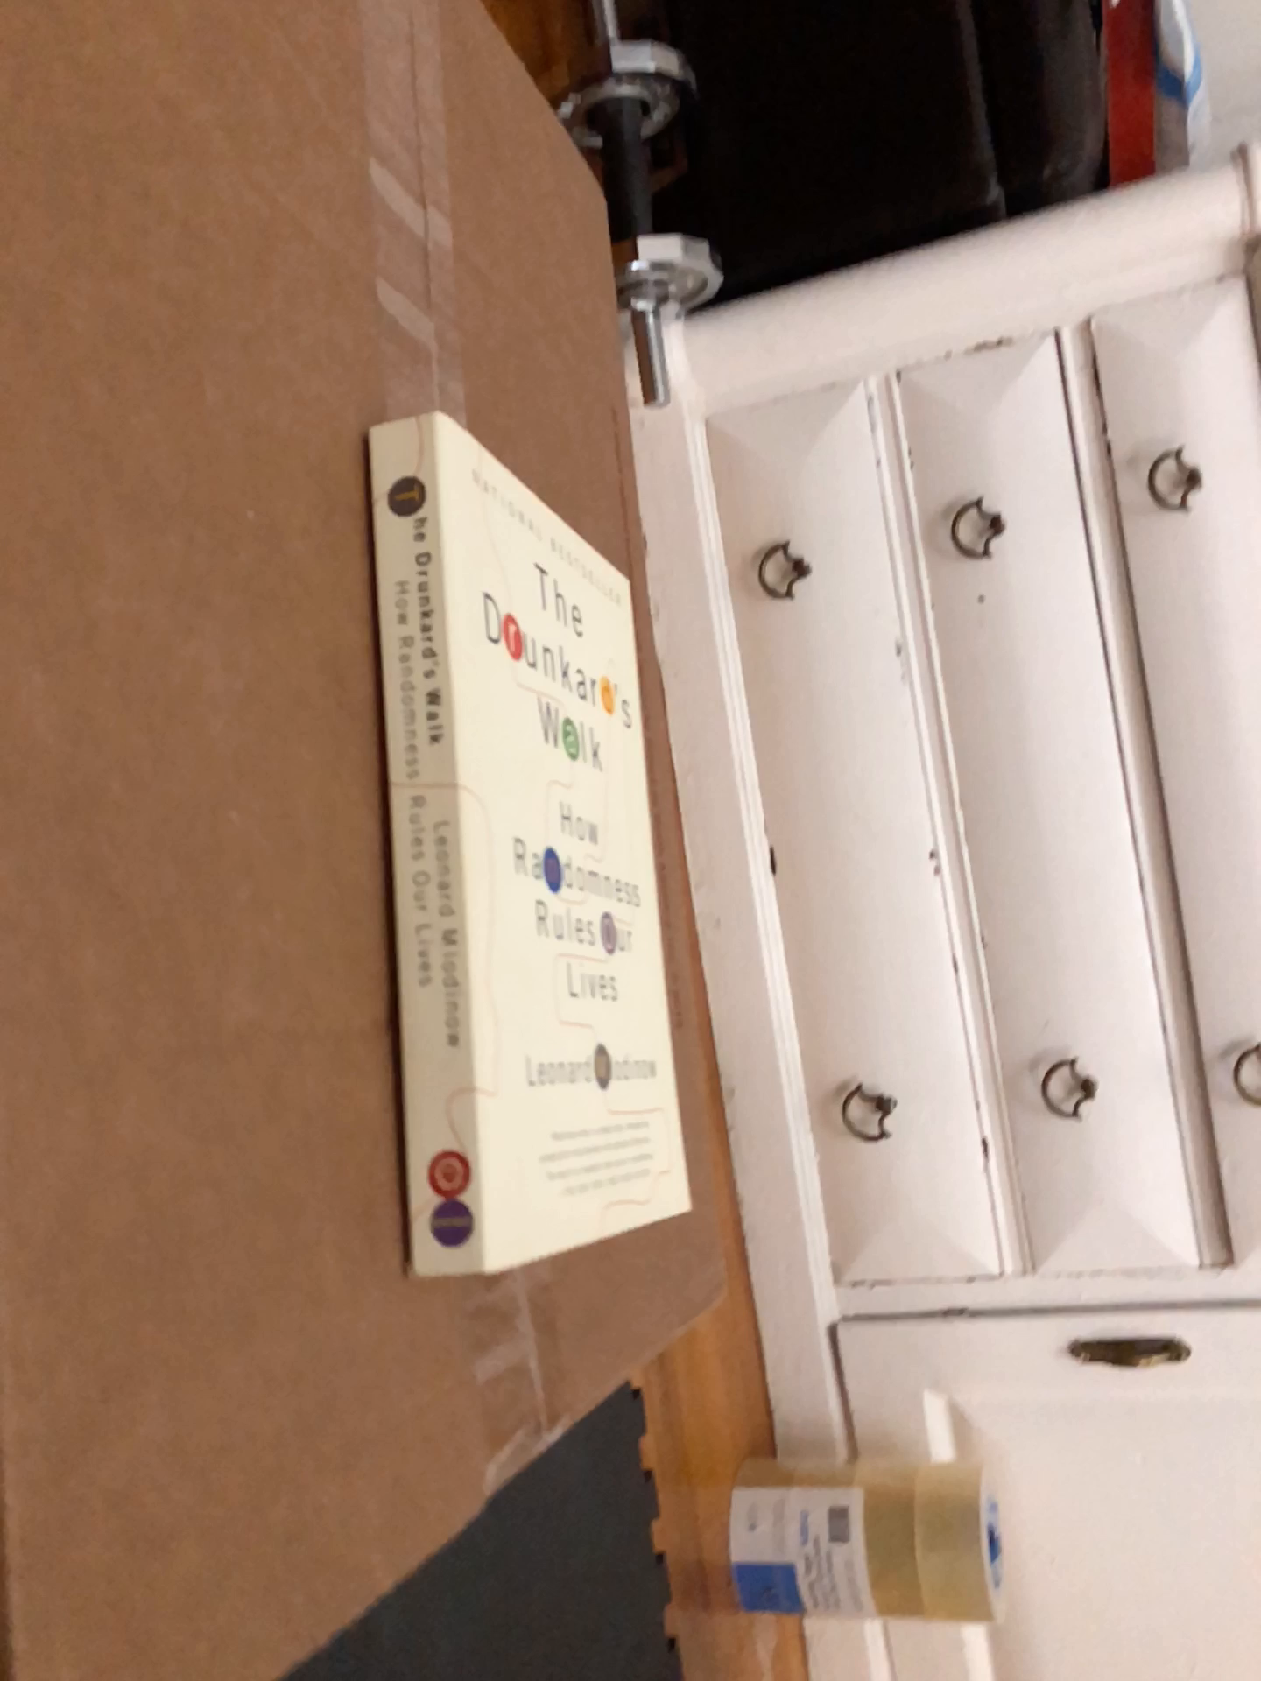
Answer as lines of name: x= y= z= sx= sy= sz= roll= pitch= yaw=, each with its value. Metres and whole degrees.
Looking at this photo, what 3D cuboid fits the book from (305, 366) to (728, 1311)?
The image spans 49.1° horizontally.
book: x=-0.025 y=0.005 z=0.374 sx=0.141 sy=0.040 sz=0.210 roll=20 pitch=62 yaw=-67
